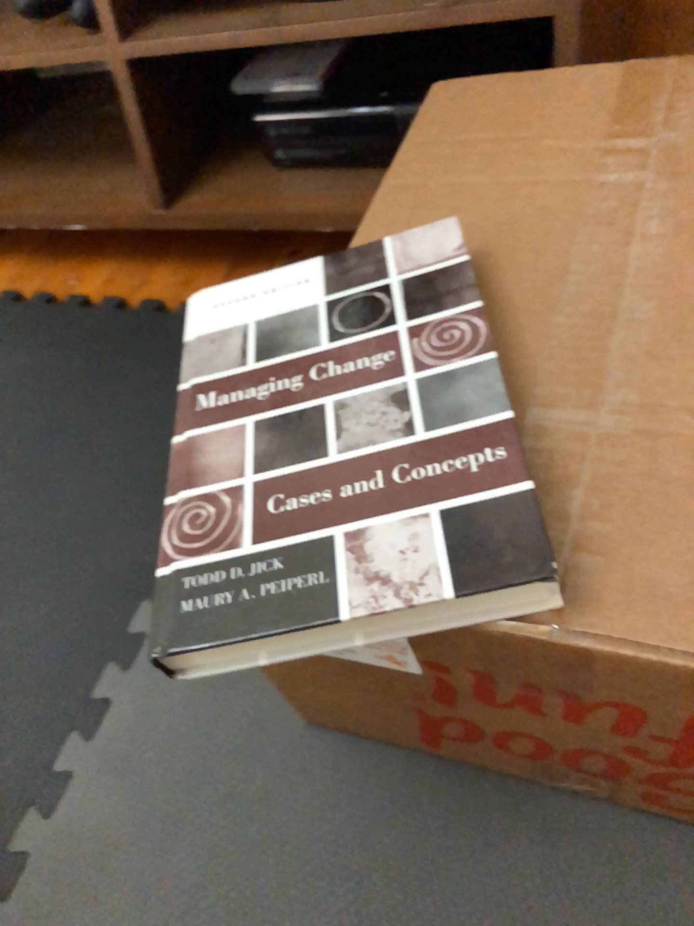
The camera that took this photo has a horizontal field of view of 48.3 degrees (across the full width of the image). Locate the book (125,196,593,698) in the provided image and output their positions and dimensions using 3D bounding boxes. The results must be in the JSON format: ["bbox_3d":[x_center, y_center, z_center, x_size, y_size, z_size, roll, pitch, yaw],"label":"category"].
[{"bbox_3d":[-0.006,-0.026,0.381,0.180,0.030,0.251,-13,49,9],"label":"book"}]
